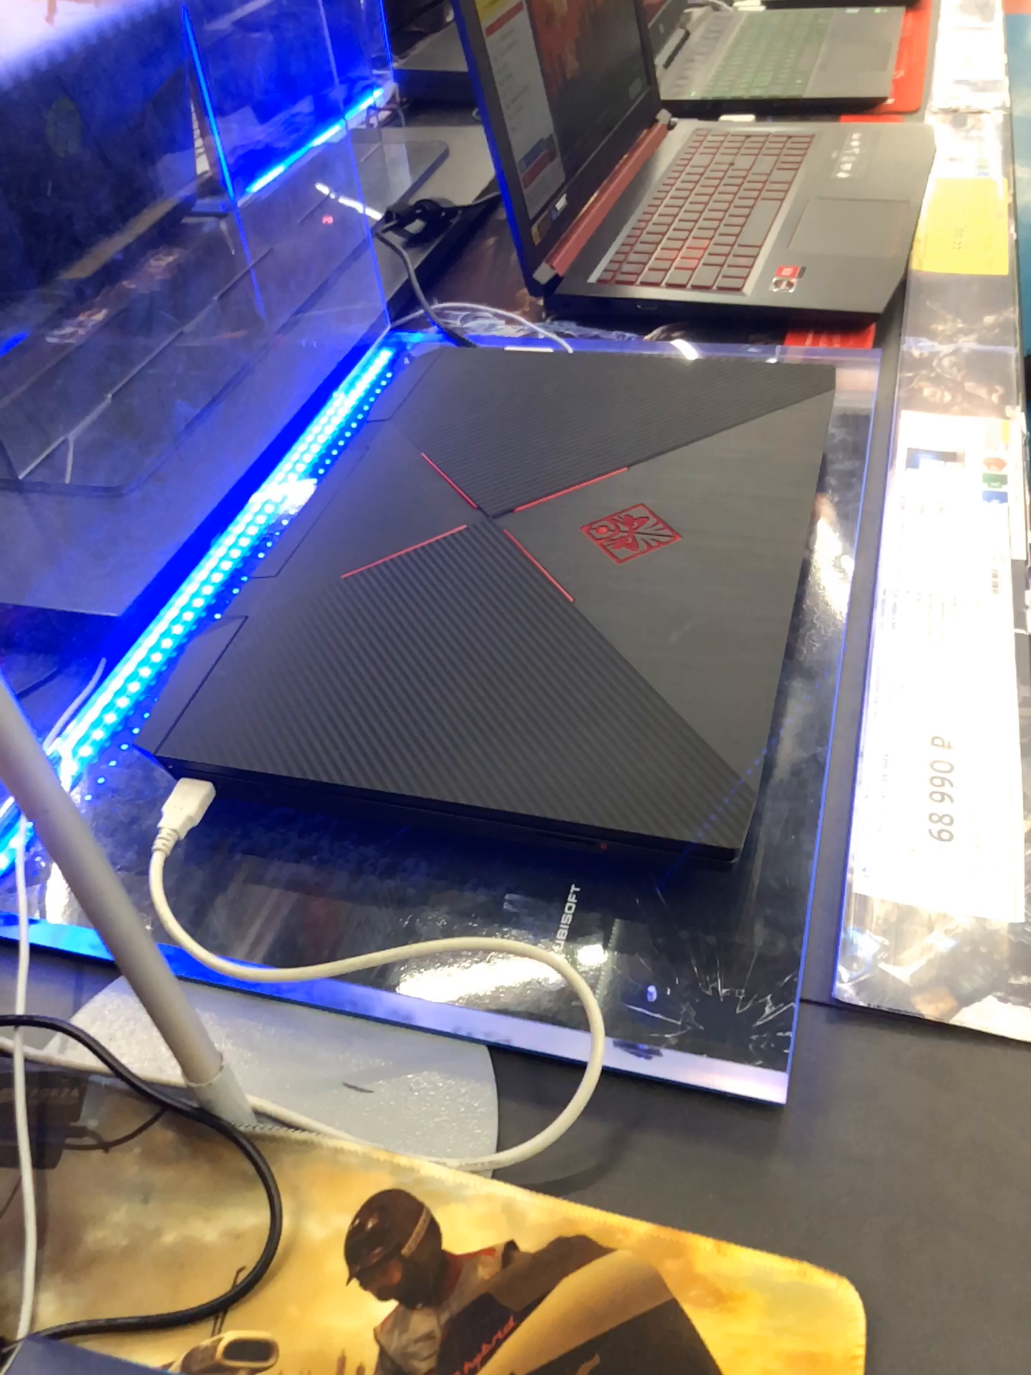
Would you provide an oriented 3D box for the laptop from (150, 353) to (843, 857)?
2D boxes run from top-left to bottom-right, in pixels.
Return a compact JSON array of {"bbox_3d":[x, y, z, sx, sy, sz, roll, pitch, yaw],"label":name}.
[{"bbox_3d":[0.018,-0.073,0.549,0.237,0.003,0.351,8,45,16],"label":"laptop"}]
